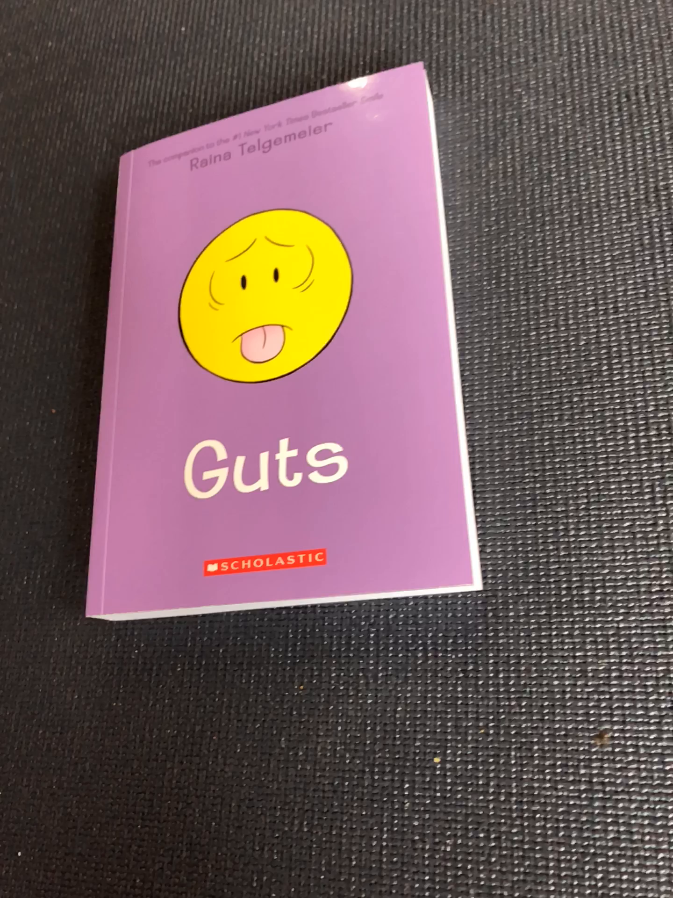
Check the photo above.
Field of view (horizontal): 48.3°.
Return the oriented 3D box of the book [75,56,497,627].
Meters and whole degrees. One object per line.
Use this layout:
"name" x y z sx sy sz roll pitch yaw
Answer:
"book" -0.023 -0.041 0.286 0.143 0.024 0.202 -8 69 18
